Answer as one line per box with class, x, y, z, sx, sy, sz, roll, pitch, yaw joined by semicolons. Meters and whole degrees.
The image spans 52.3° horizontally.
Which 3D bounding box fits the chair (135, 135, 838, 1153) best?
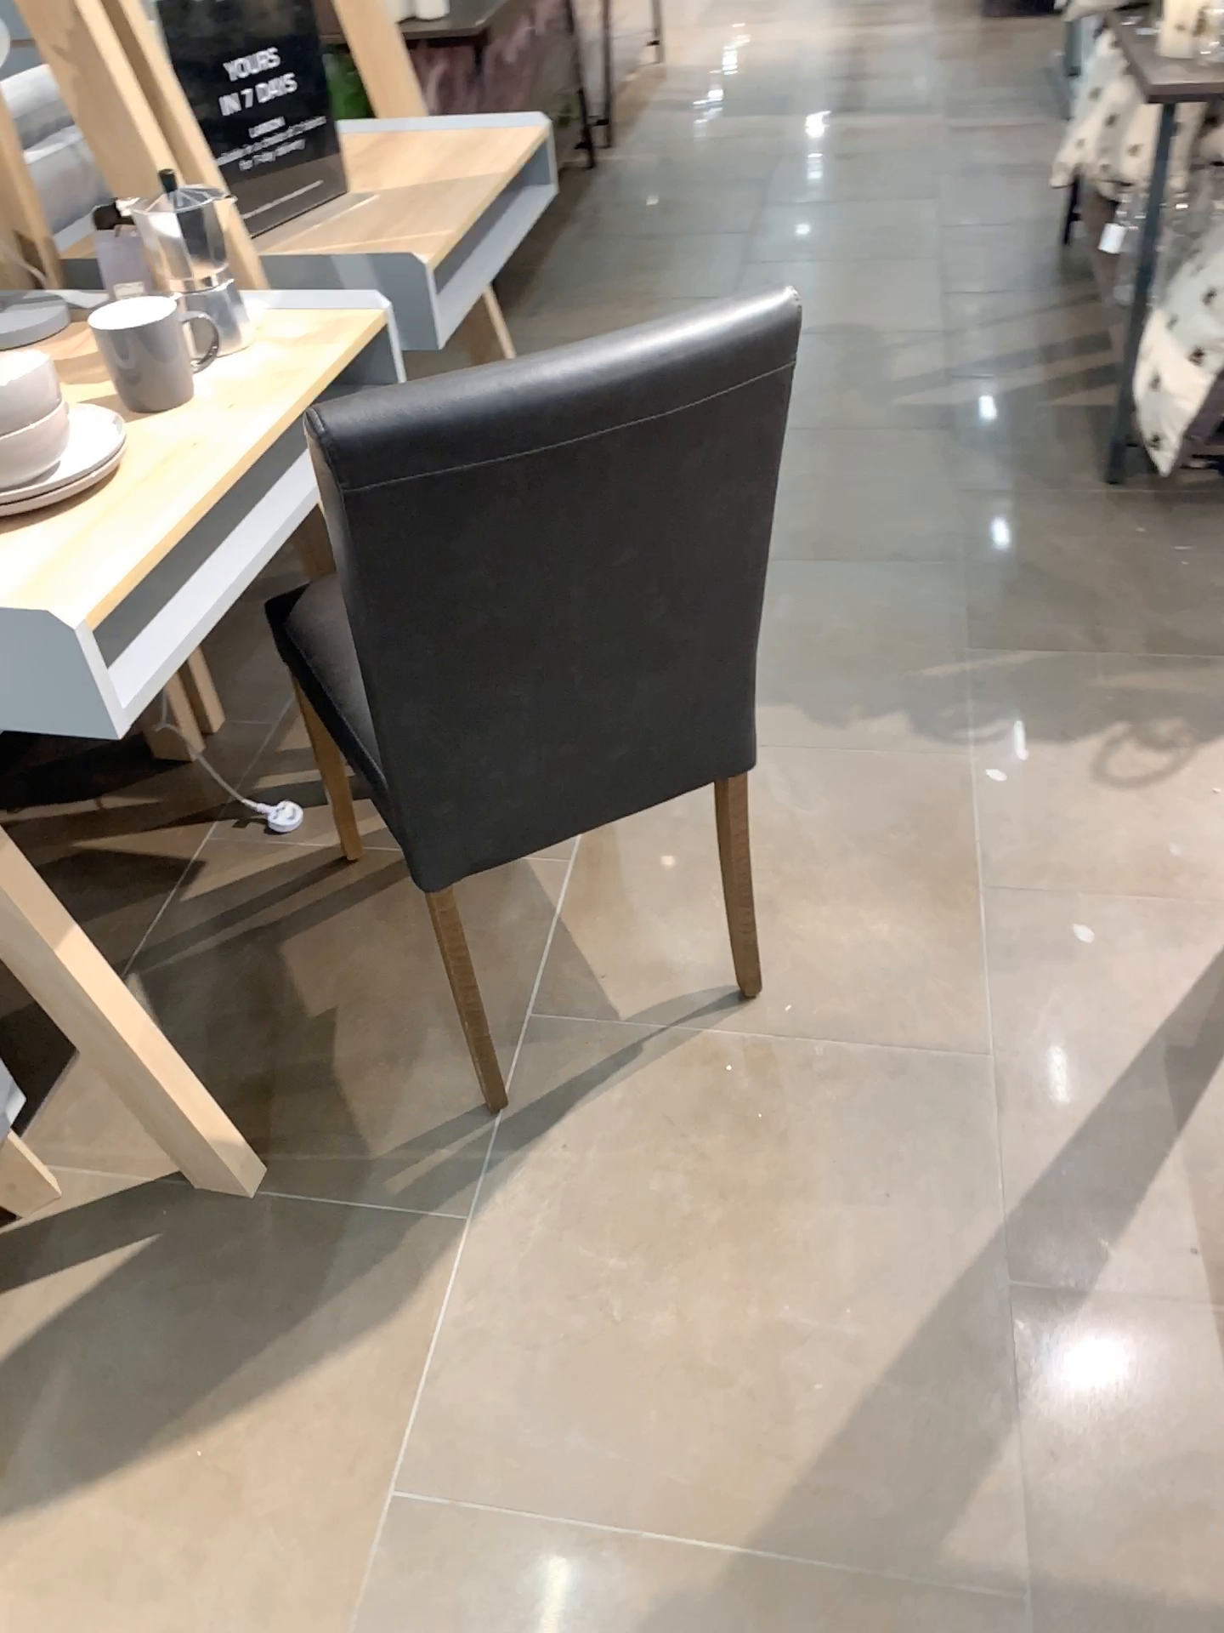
chair;-0.121;-0.197;1.435;0.457;0.887;0.609;-21;43;-17
